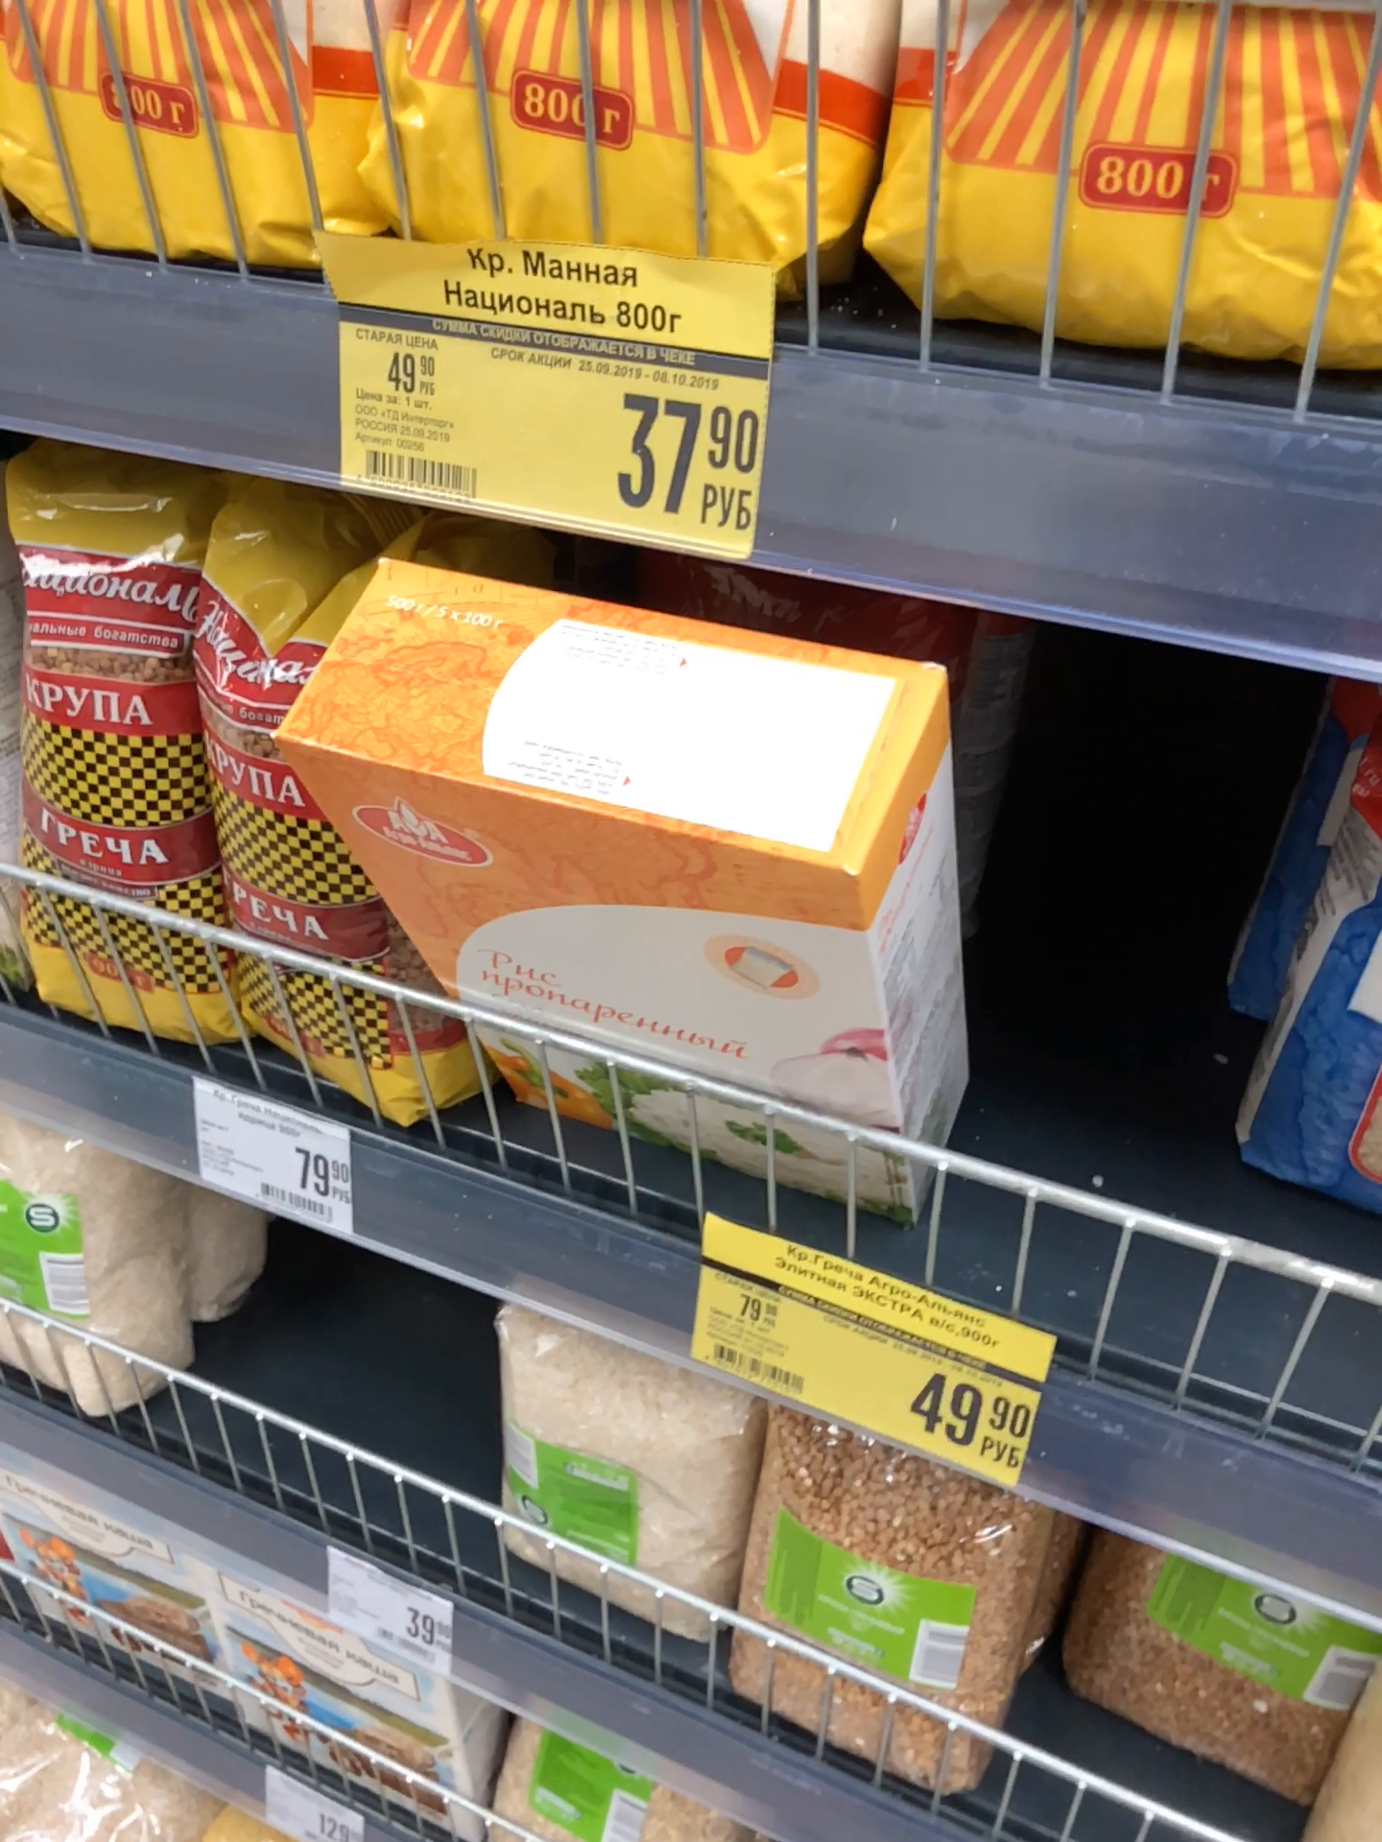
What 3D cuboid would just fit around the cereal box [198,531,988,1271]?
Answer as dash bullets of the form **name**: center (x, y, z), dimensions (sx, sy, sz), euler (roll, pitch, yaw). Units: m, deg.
- **cereal box**: center (-0.006, 0.006, 0.371), dimensions (0.140, 0.189, 0.060), euler (15, 64, 19)
